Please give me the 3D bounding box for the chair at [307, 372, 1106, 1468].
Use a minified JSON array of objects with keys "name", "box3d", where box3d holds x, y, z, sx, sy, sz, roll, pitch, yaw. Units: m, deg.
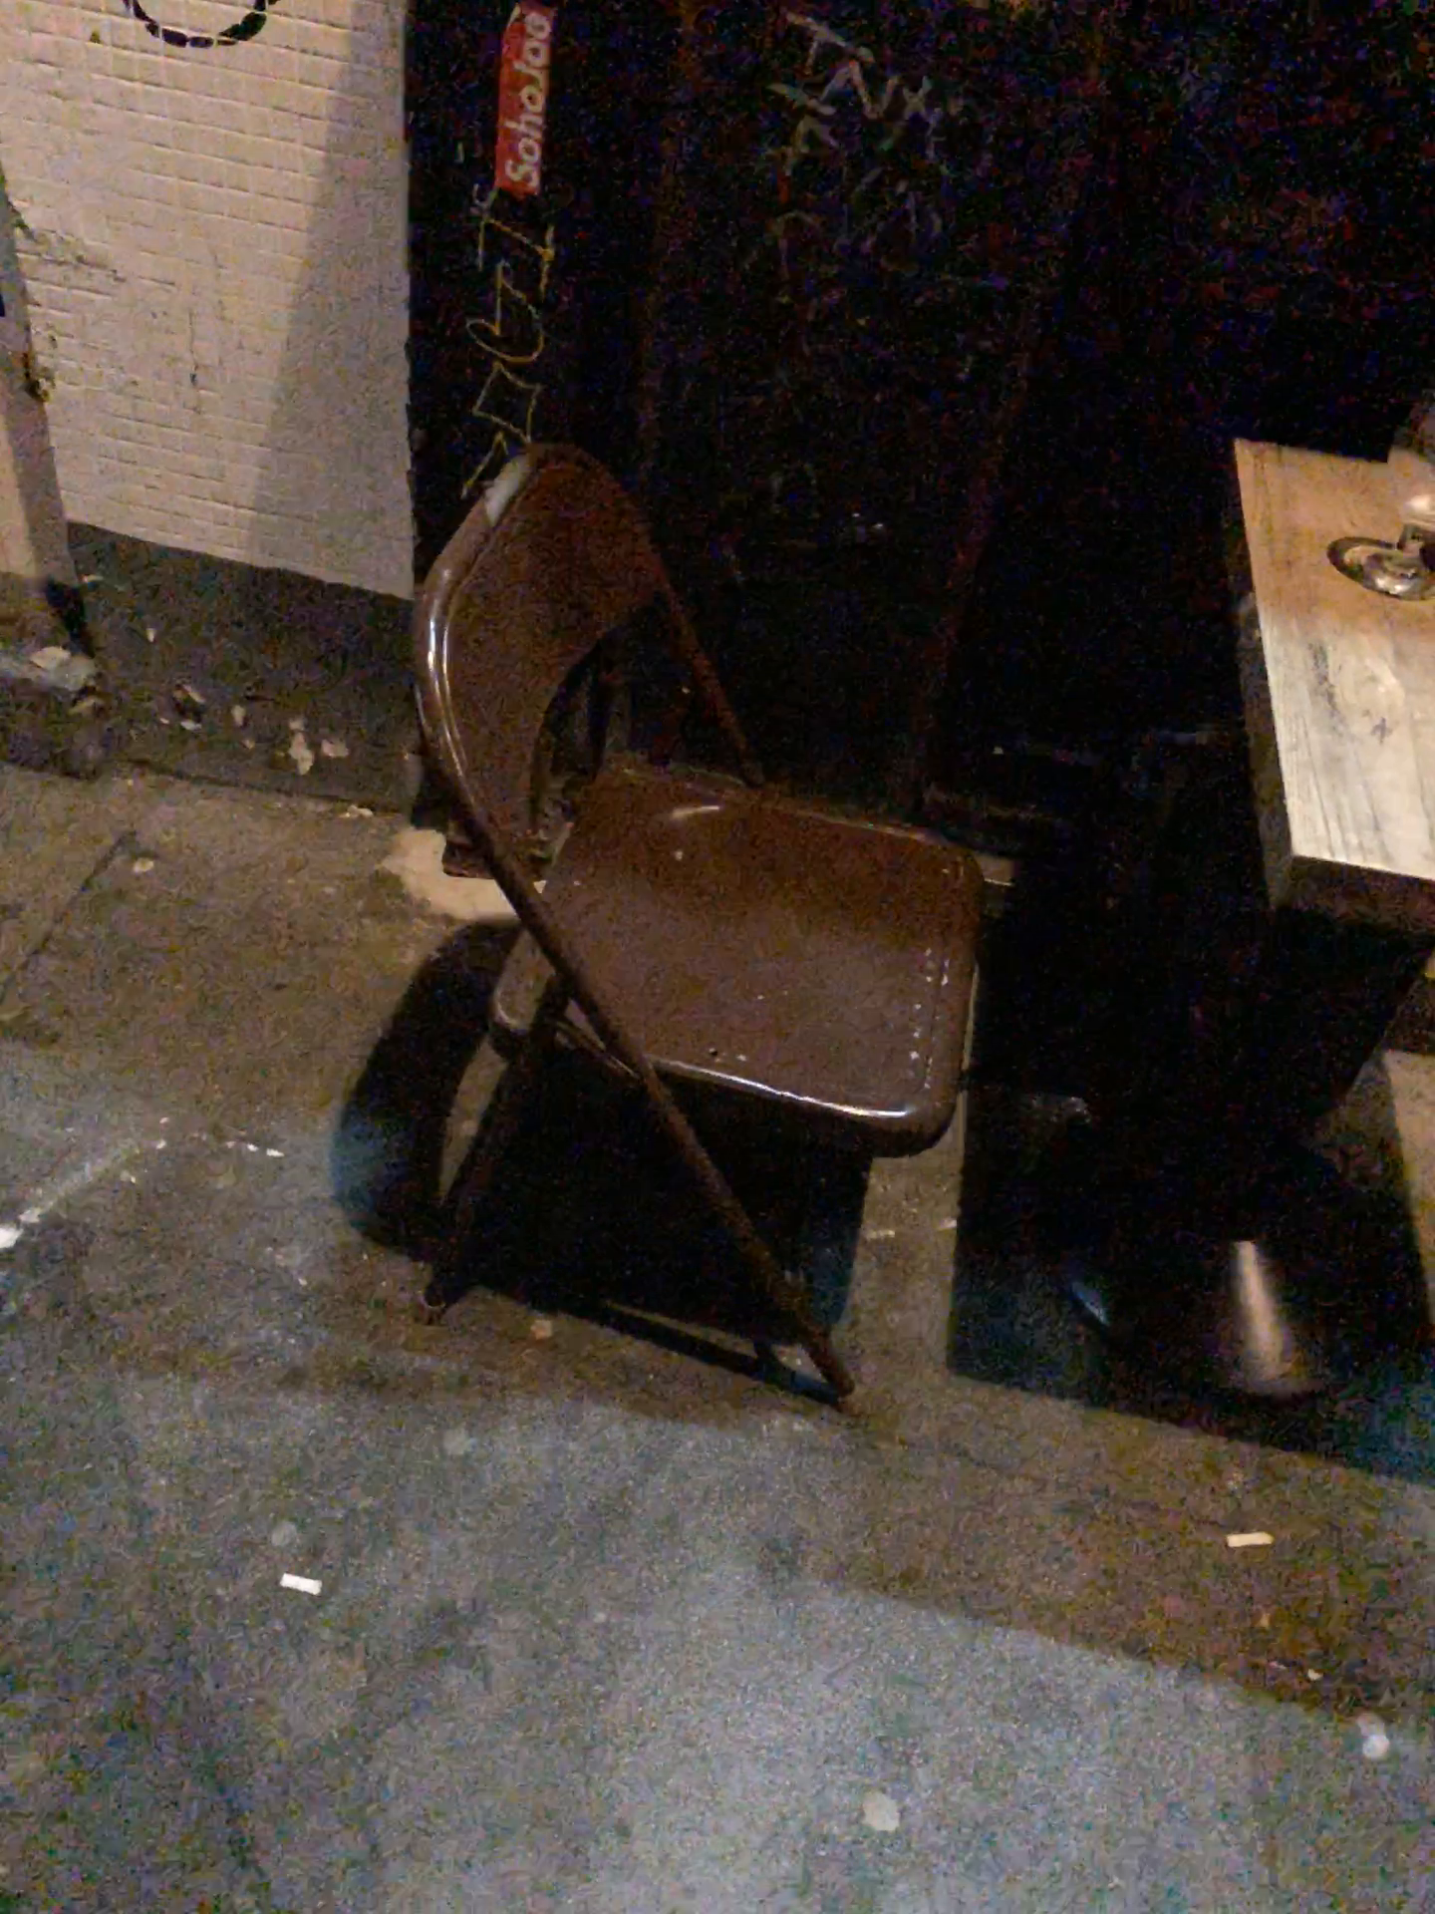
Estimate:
[{"name":"chair","box3d":[-0.012,-0.021,1.285,0.480,0.723,0.495,14,41,5]}]
